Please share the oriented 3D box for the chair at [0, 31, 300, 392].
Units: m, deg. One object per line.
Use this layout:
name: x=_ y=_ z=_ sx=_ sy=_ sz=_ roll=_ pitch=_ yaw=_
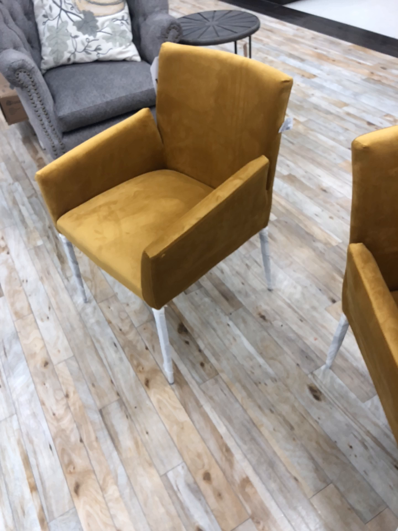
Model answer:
chair: x=-0.110 y=-0.172 z=1.359 sx=0.540 sy=0.797 sz=0.562 roll=-35 pitch=49 yaw=-27
